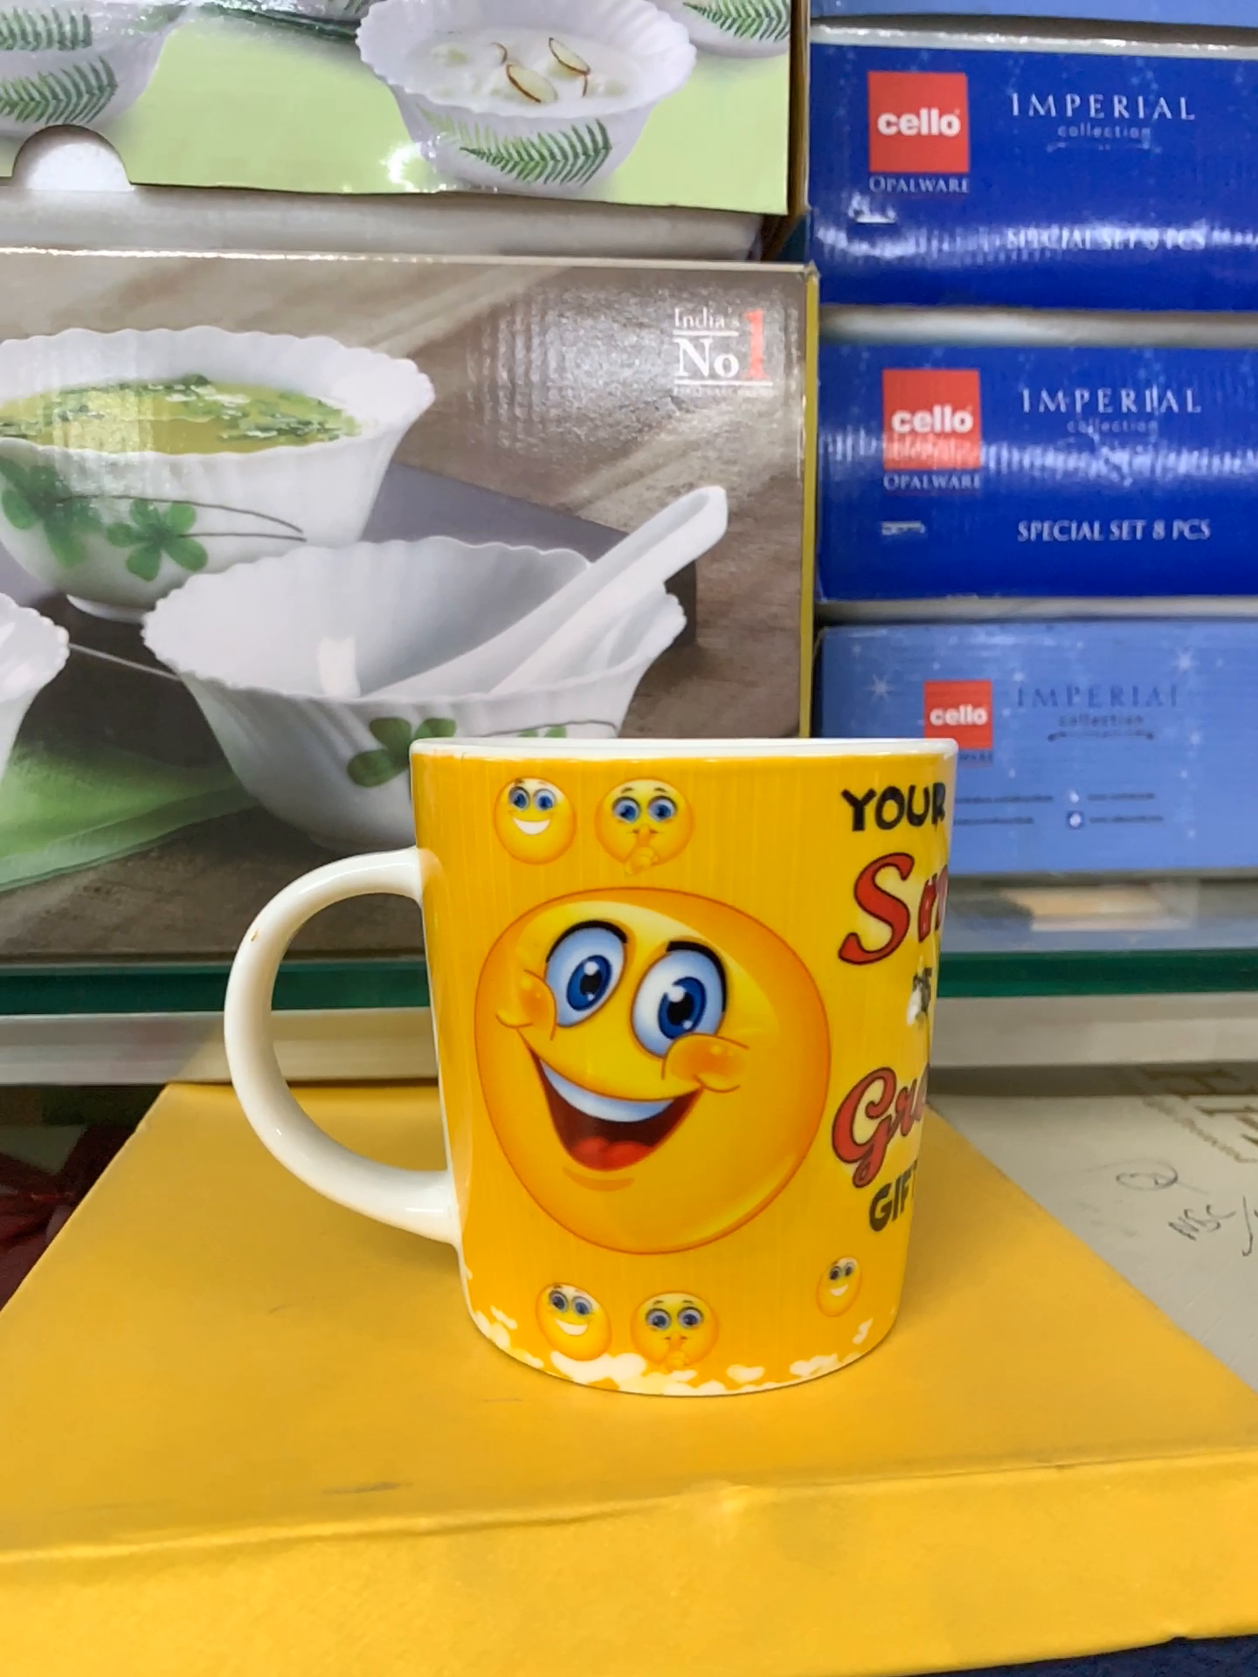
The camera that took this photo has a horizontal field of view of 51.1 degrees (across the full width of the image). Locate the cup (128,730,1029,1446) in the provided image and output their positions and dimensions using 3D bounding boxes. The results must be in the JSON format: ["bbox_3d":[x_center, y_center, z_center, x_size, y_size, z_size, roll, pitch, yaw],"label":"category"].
[{"bbox_3d":[-0.005,0.030,0.212,0.120,0.090,0.070,1,7,8],"label":"cup"}]
